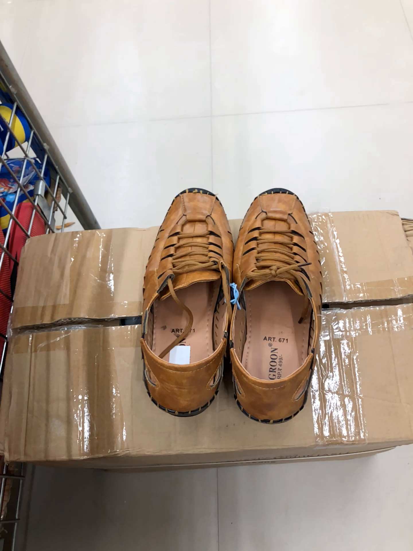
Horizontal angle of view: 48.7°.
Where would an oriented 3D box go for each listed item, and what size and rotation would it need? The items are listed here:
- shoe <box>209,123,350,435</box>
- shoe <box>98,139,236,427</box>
[{"bbox_3d":[0.074,-0.002,0.479,0.110,0.120,0.301,2,64,7],"label":"shoe"},{"bbox_3d":[-0.026,0.005,0.501,0.110,0.120,0.291,0,64,6],"label":"shoe"}]
